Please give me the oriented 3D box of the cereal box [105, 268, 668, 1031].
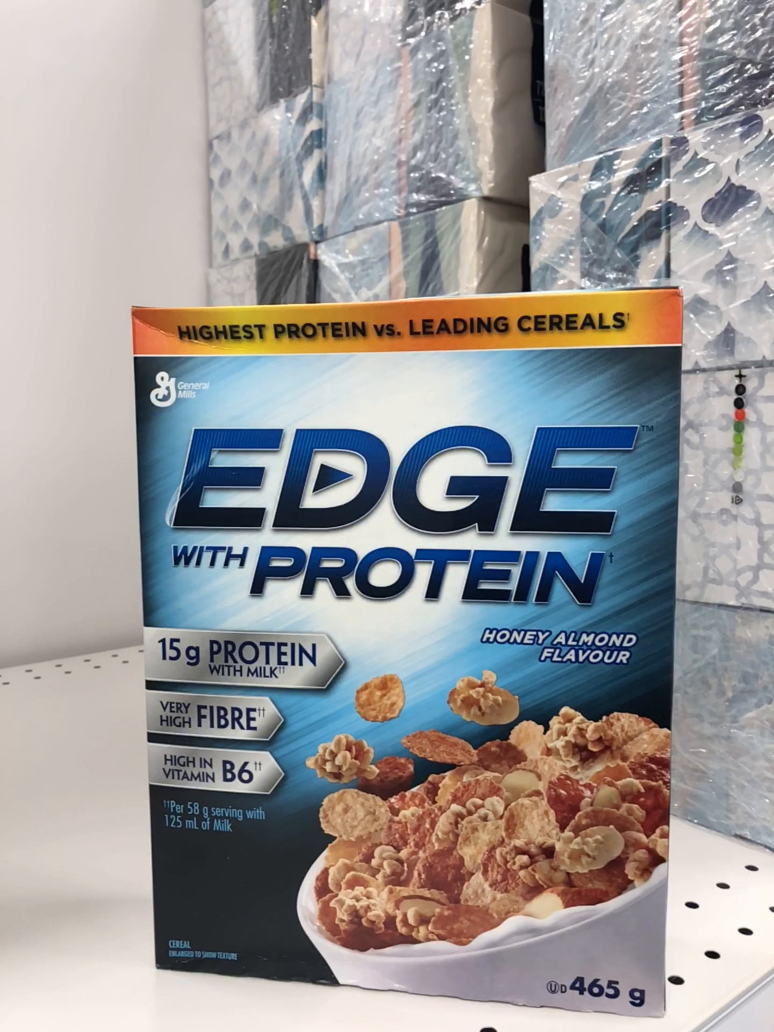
[{"bbox_3d":[0.001,0.053,0.342,0.200,0.280,0.050,0,6,9],"label":"cereal box"}]
